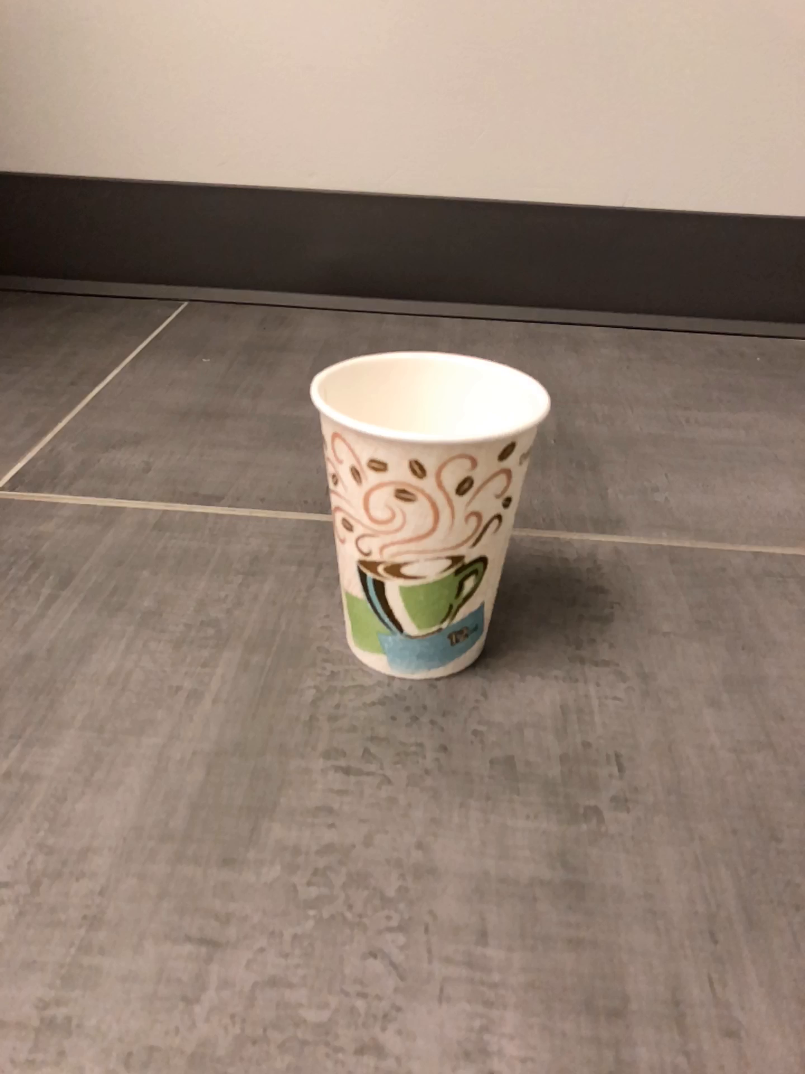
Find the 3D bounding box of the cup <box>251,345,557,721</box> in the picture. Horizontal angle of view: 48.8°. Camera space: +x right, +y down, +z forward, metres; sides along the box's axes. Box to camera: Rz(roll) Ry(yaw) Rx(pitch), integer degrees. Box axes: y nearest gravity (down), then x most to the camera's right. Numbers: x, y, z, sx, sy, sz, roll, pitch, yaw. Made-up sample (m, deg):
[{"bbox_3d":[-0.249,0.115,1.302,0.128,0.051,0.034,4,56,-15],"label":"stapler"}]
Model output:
[{"bbox_3d":[0.004,-0.007,0.350,0.090,0.100,0.100,10,30,12],"label":"cup"}]
